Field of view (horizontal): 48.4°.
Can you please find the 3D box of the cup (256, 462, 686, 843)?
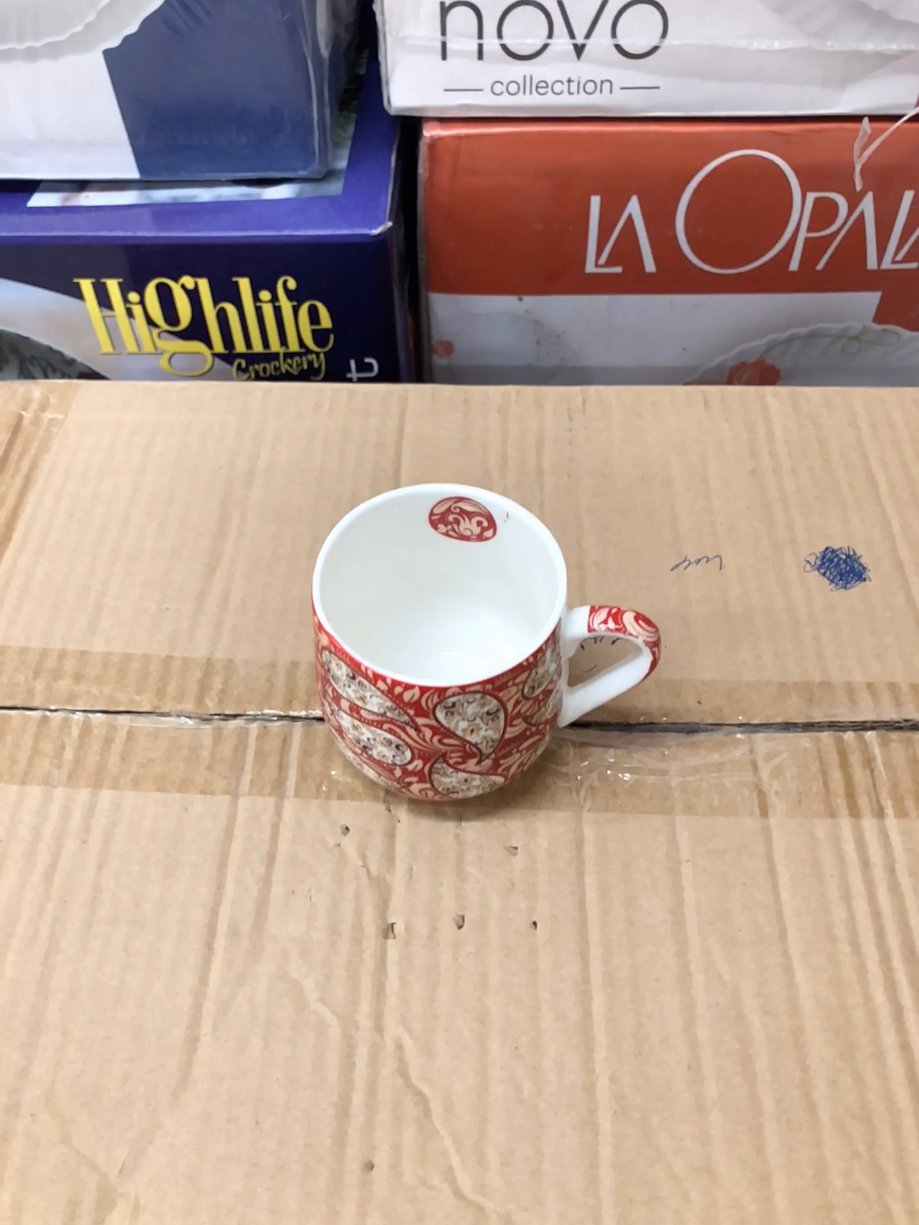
[{"bbox_3d":[0.001,0.010,0.259,0.090,0.060,0.070,-3,49,-2],"label":"cup"}]
